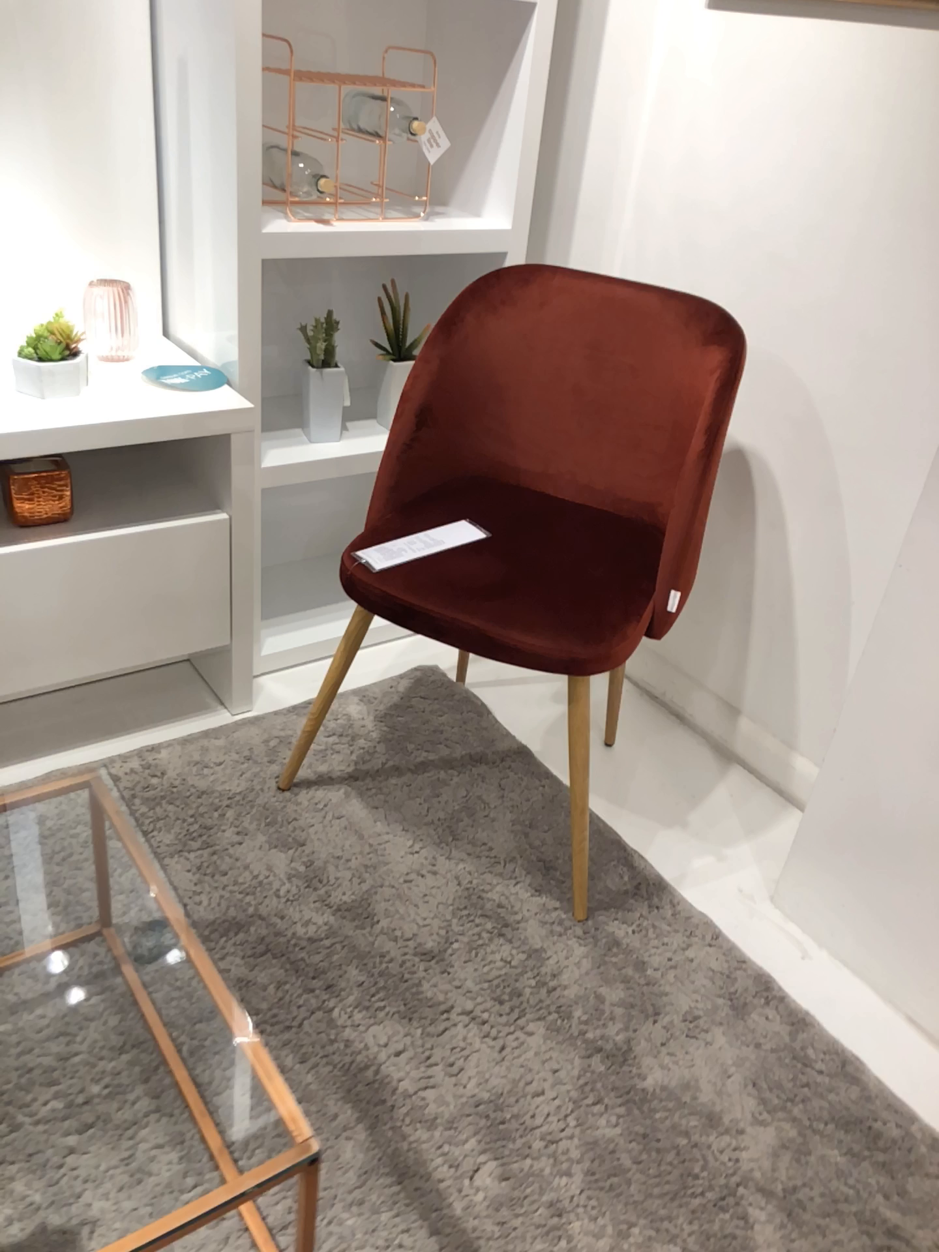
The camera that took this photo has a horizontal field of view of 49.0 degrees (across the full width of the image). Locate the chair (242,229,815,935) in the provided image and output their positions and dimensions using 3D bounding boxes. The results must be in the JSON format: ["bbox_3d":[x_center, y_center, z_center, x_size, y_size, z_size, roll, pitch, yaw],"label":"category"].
[{"bbox_3d":[0.091,-0.123,1.561,0.590,0.734,0.655,17,31,15],"label":"chair"}]
